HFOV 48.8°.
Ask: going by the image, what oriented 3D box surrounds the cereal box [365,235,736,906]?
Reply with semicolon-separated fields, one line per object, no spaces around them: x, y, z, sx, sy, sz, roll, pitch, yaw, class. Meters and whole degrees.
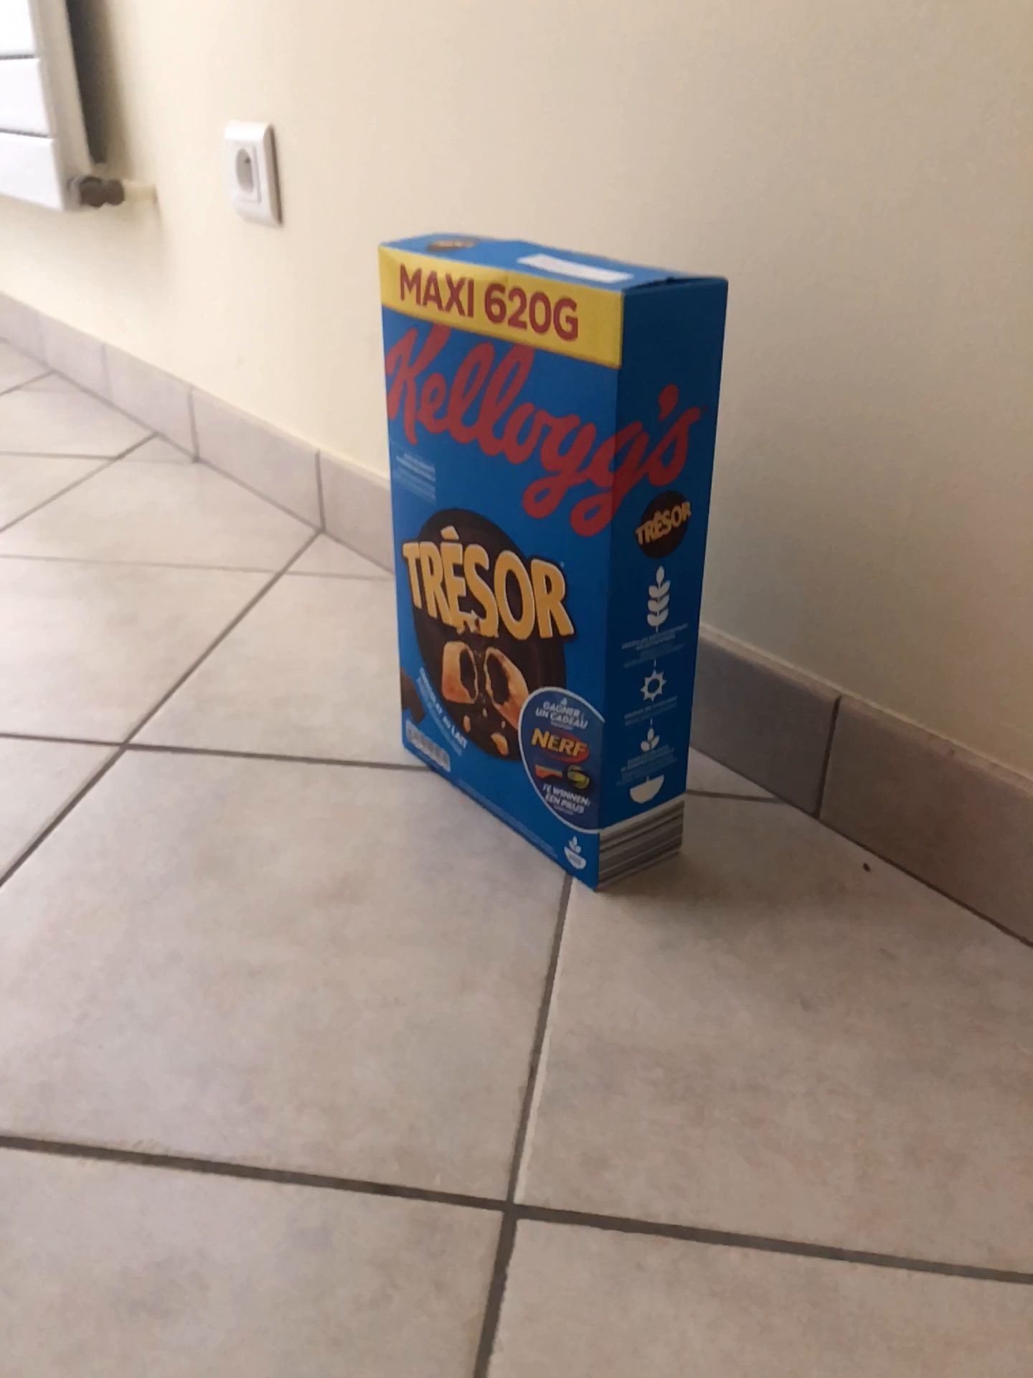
0.008;-0.068;0.596;0.070;0.298;0.190;-19;33;-32;cereal box
